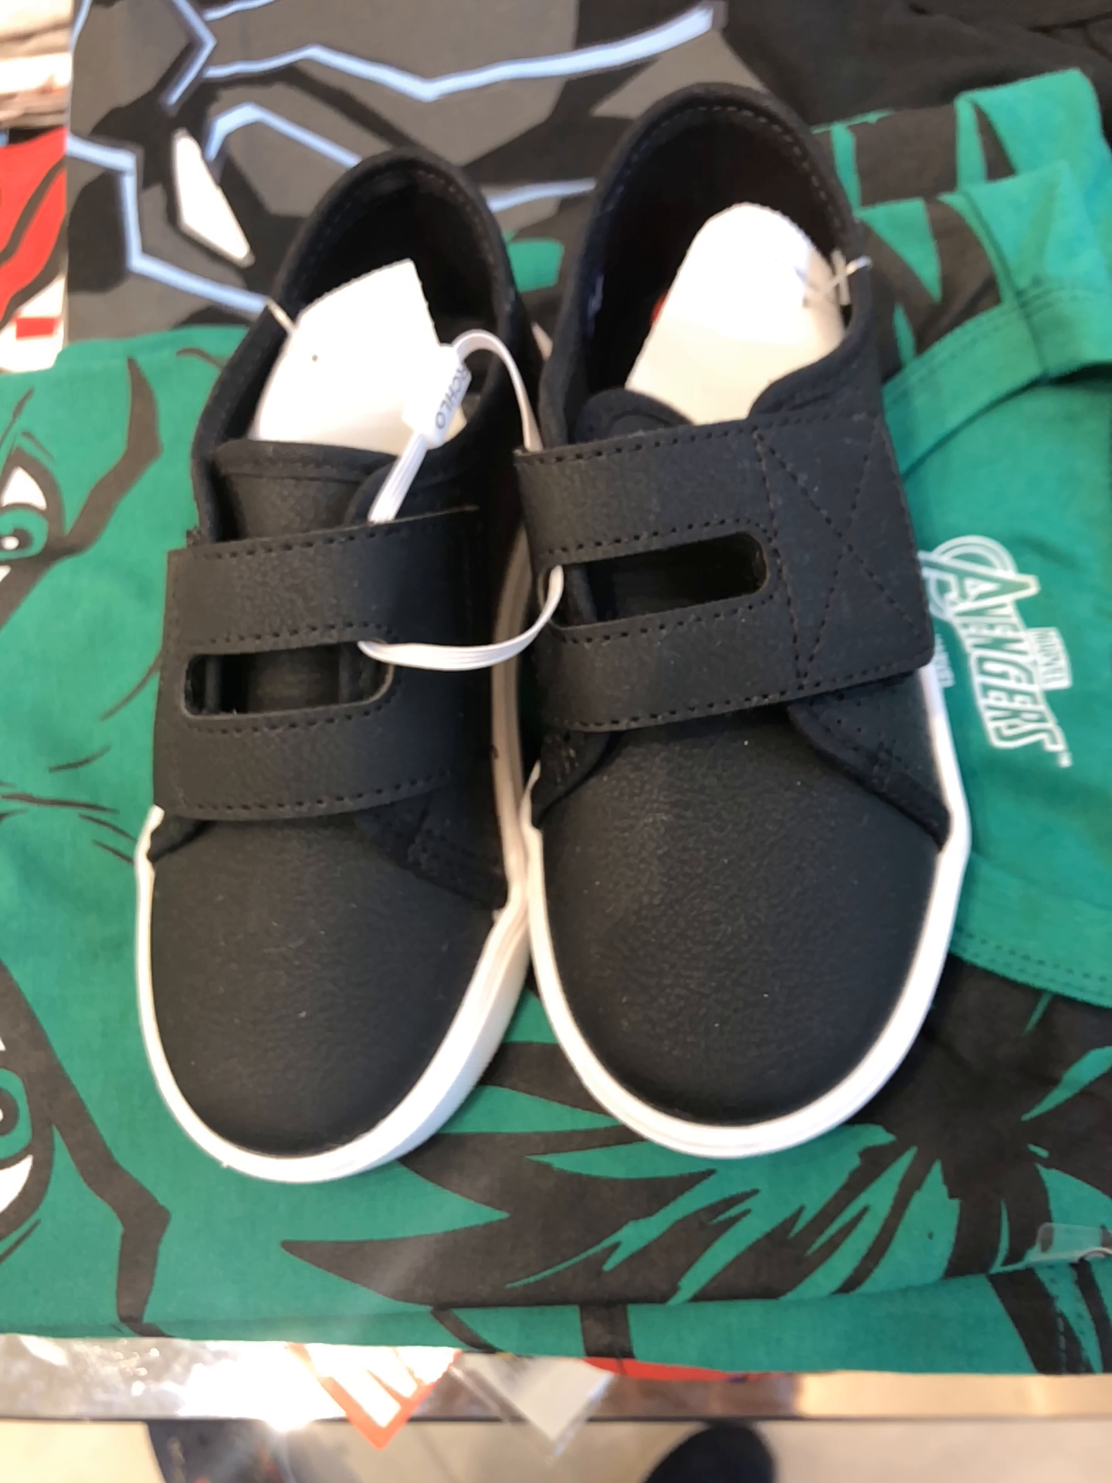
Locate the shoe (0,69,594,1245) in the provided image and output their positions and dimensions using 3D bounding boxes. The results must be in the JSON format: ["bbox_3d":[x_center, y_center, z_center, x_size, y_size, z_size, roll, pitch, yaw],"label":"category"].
[{"bbox_3d":[-0.043,-0.012,0.221,0.080,0.090,0.170,5,75,5],"label":"shoe"}]

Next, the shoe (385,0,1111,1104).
[{"bbox_3d":[0.026,-0.026,0.219,0.090,0.090,0.170,-1,74,4],"label":"shoe"}]
